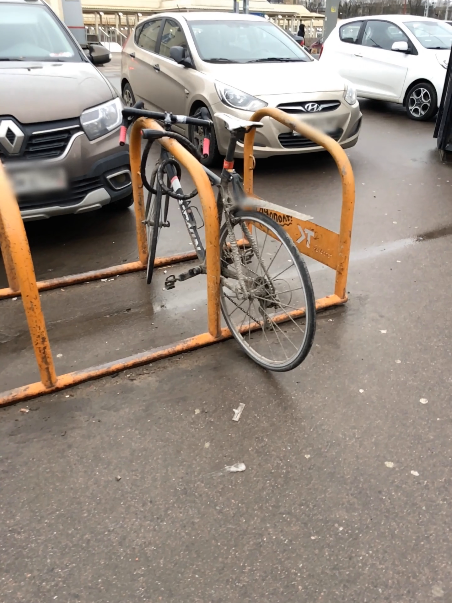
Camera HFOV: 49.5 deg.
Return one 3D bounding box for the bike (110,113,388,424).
[{"bbox_3d":[-0.035,-0.318,2.232,0.490,0.761,1.523,-13,32,-25],"label":"bike"}]
